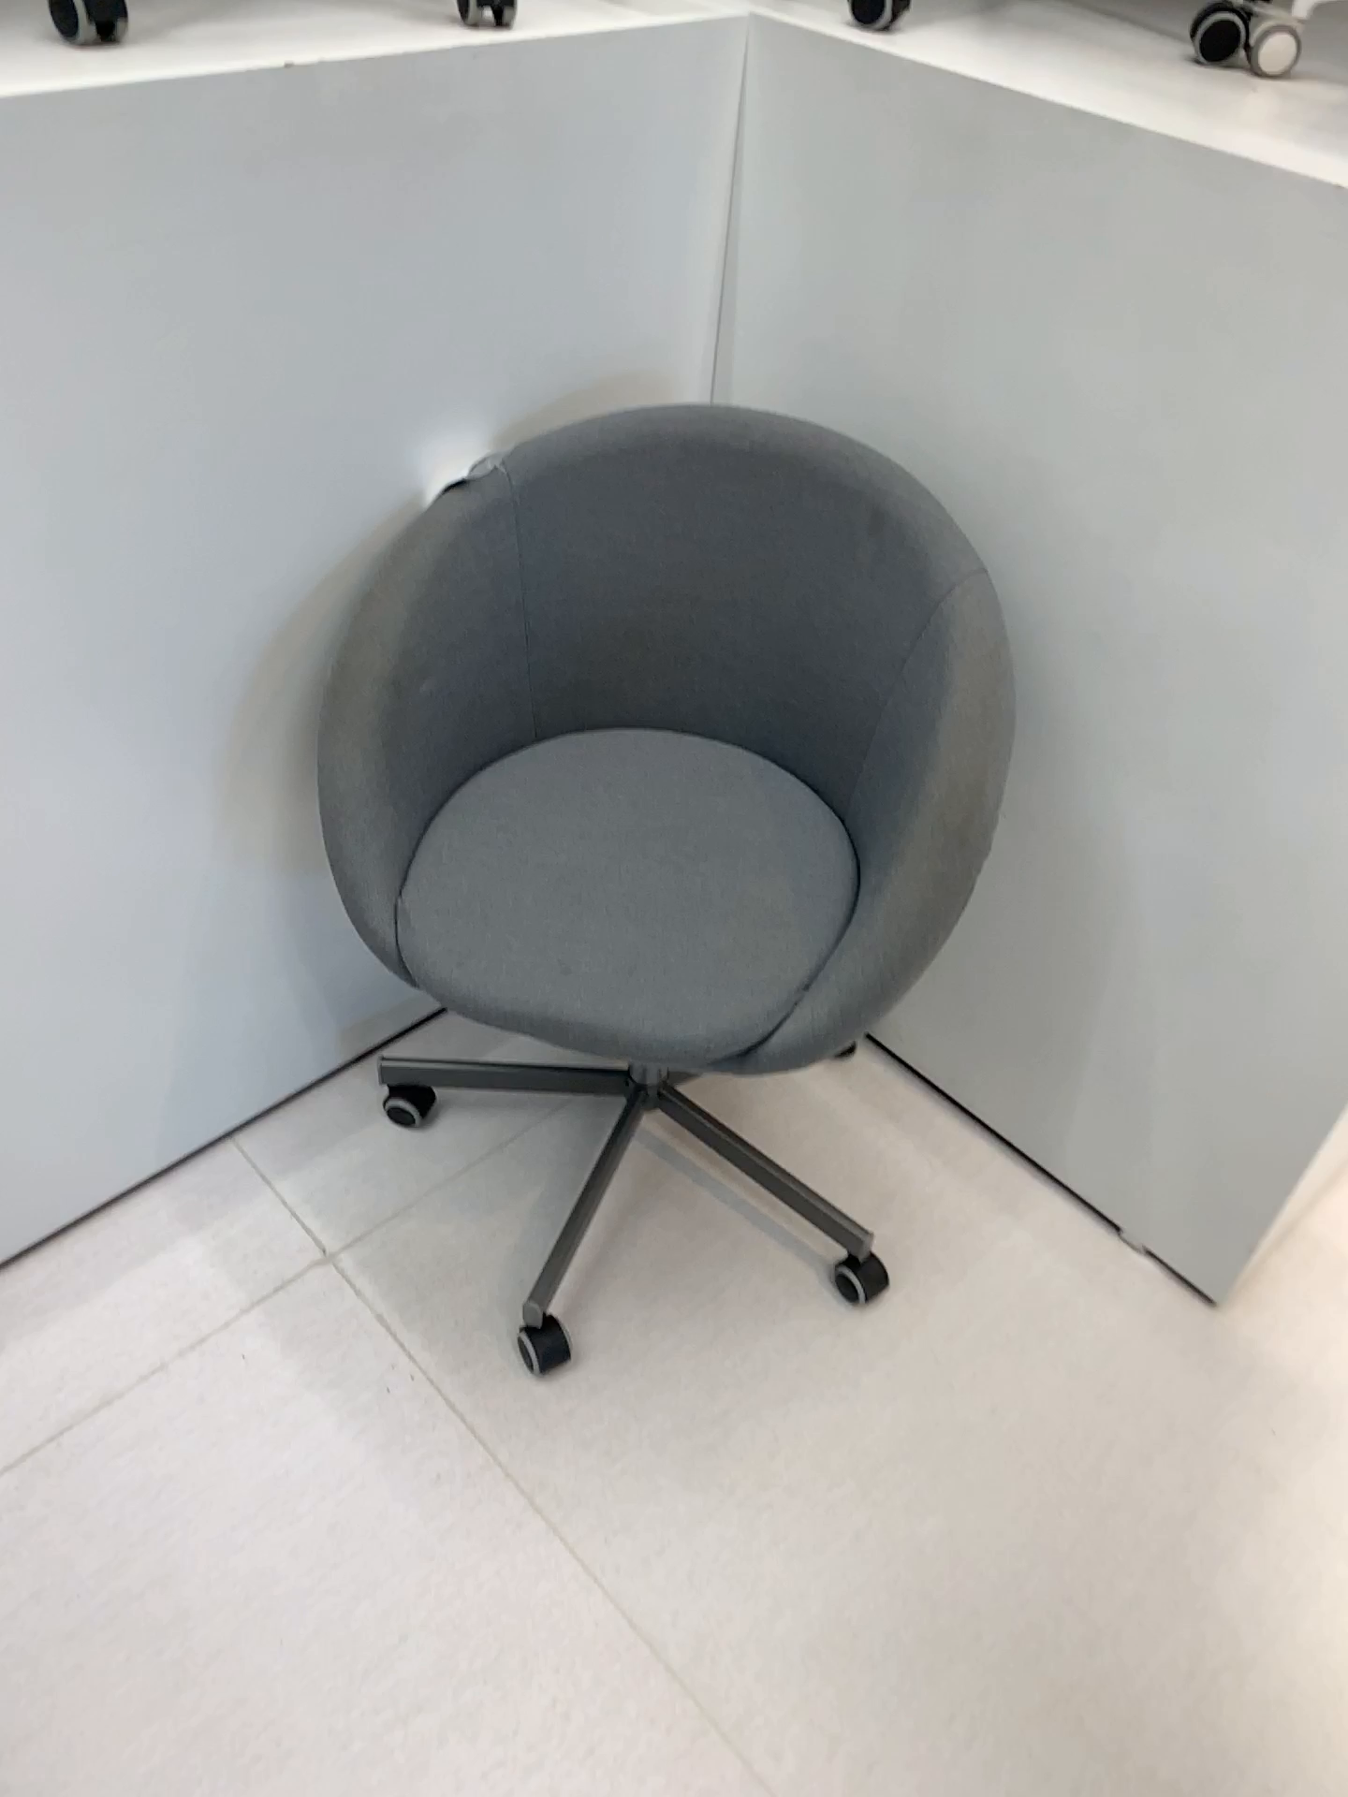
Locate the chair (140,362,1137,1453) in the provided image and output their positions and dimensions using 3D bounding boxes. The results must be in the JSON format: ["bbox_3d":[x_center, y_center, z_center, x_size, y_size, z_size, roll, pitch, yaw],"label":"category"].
[{"bbox_3d":[-0.001,-0.018,1.538,0.720,0.767,0.833,9,42,3],"label":"chair"}]
